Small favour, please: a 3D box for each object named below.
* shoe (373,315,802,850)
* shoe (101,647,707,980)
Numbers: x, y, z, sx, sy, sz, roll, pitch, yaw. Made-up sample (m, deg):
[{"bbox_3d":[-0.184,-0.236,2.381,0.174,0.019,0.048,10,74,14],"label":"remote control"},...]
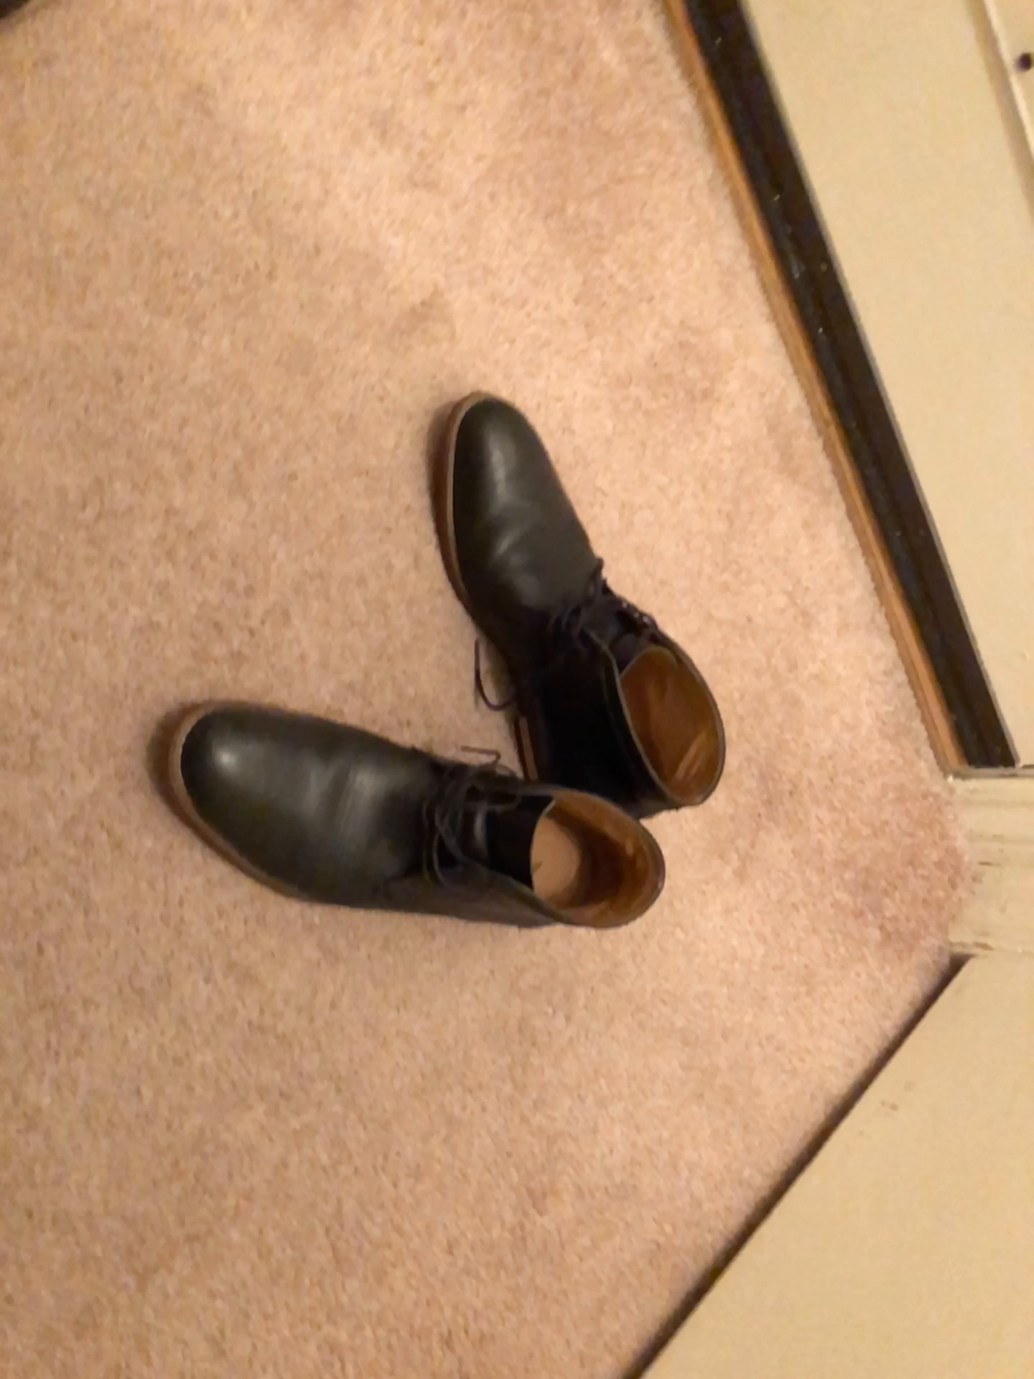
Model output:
[{"bbox_3d":[0.049,-0.060,0.739,0.117,0.135,0.302,-33,106,-33],"label":"shoe"},{"bbox_3d":[-0.054,0.079,0.652,0.303,0.135,0.116,19,76,-34],"label":"shoe"}]
